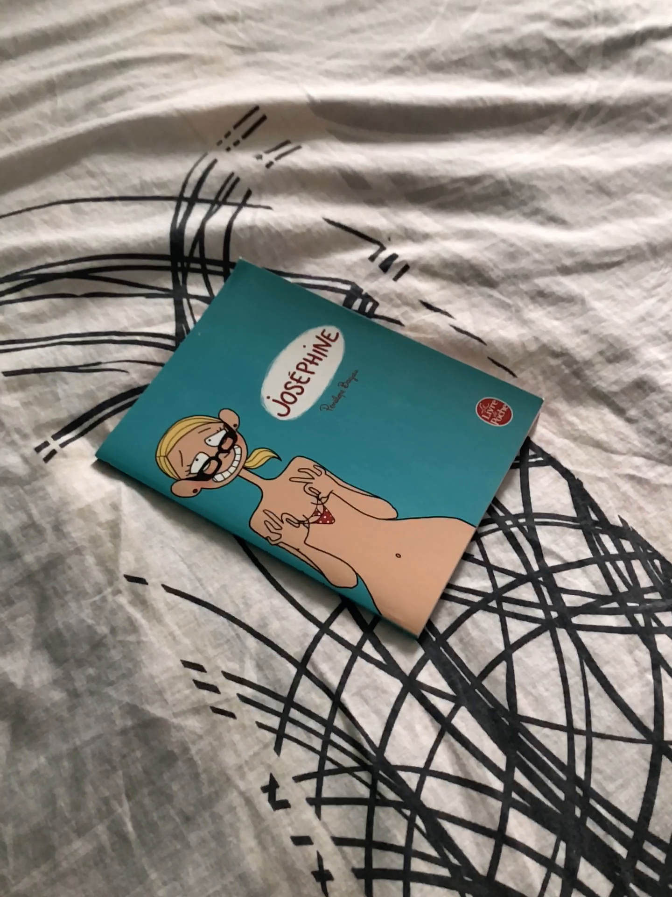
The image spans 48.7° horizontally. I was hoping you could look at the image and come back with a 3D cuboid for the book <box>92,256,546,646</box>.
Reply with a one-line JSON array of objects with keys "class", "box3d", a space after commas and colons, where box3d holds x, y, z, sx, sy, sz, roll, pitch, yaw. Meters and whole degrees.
[{"class": "book", "box3d": [-0.009, -0.010, 0.389, 0.187, 0.014, 0.145, 27, 70, 16]}]
